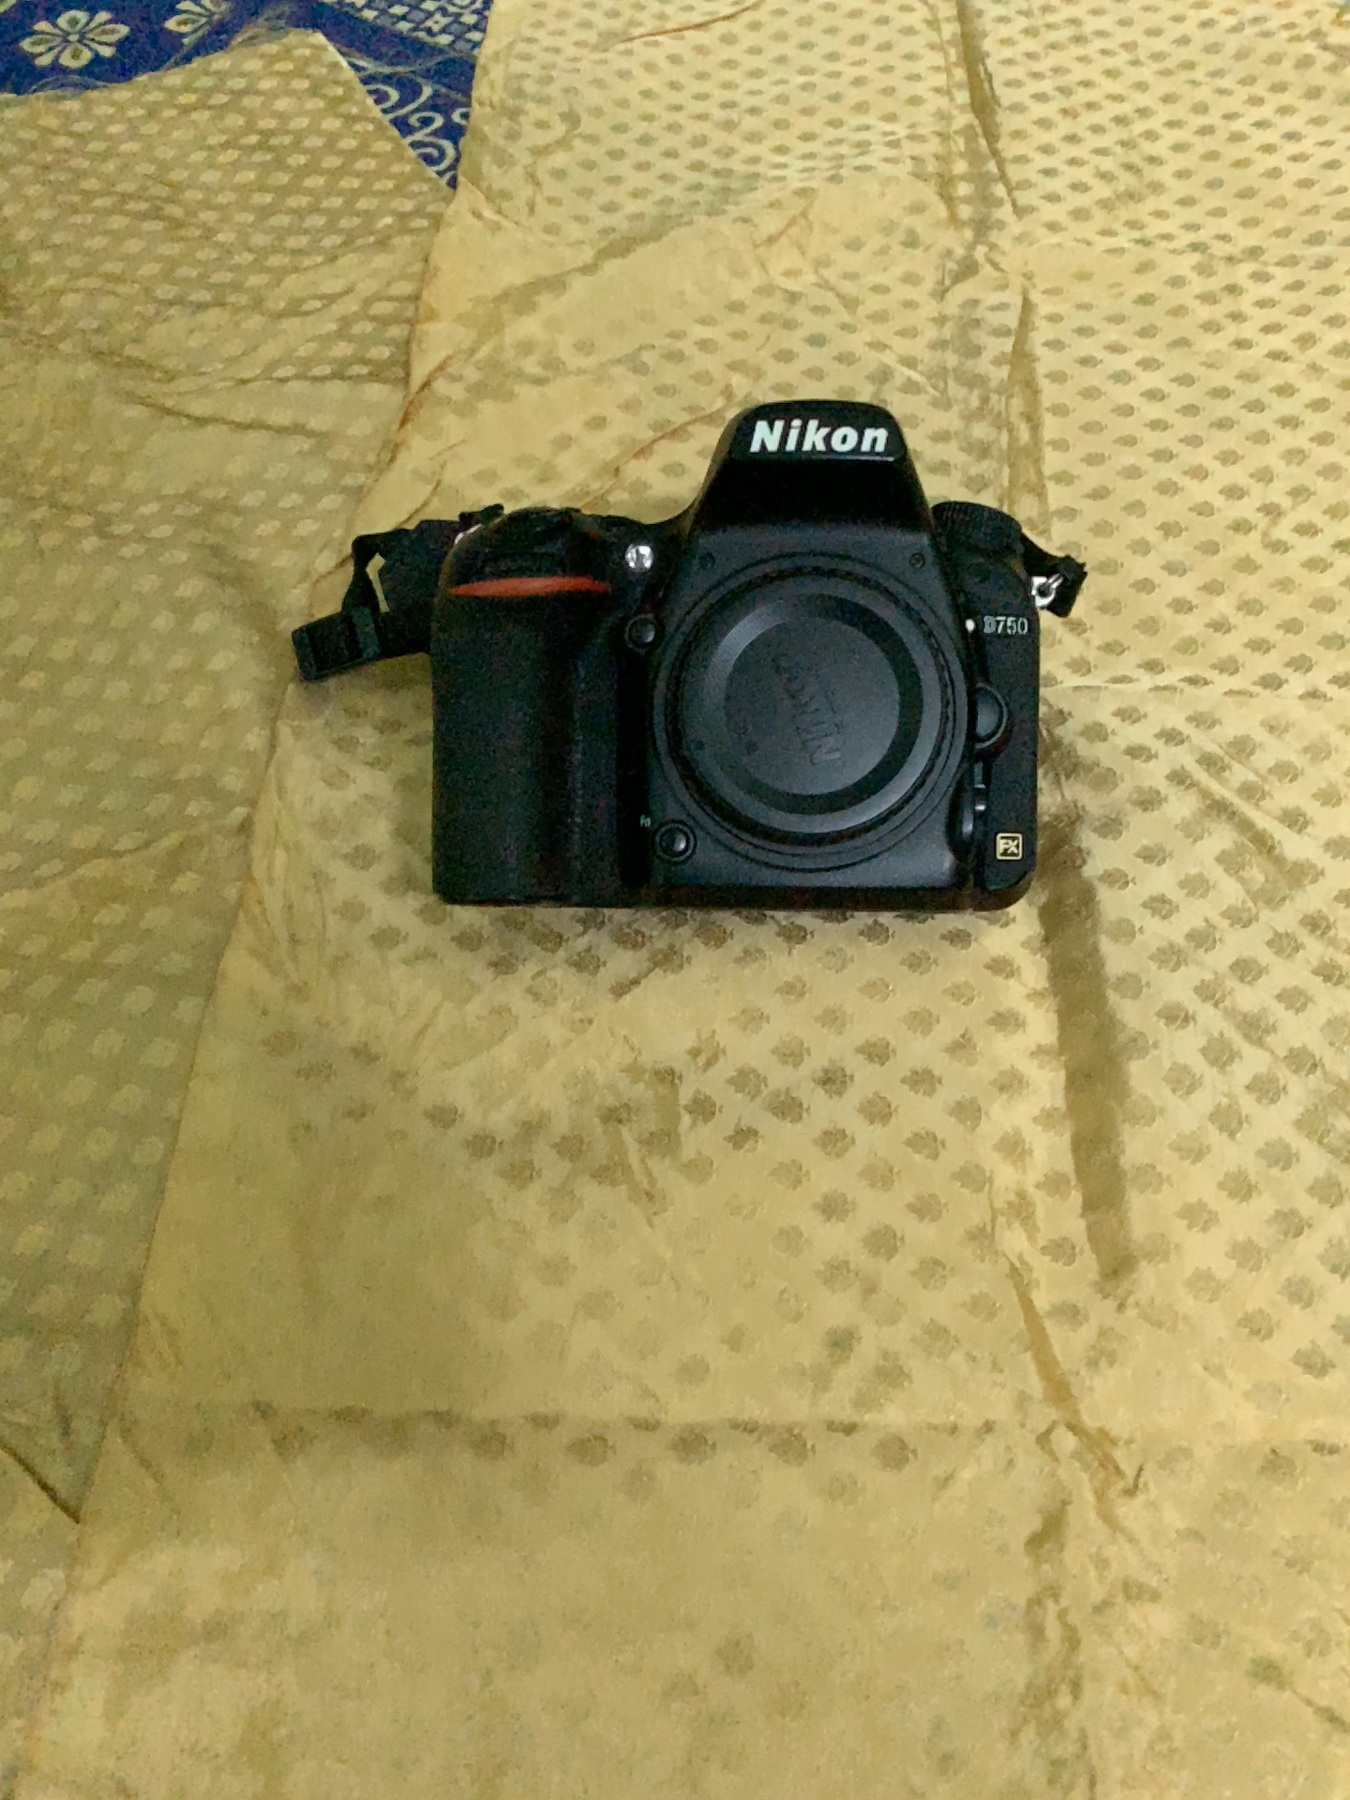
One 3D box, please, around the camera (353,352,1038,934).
[{"bbox_3d":[0.004,-0.050,0.303,0.130,0.073,0.110,1,90,1],"label":"camera"}]
